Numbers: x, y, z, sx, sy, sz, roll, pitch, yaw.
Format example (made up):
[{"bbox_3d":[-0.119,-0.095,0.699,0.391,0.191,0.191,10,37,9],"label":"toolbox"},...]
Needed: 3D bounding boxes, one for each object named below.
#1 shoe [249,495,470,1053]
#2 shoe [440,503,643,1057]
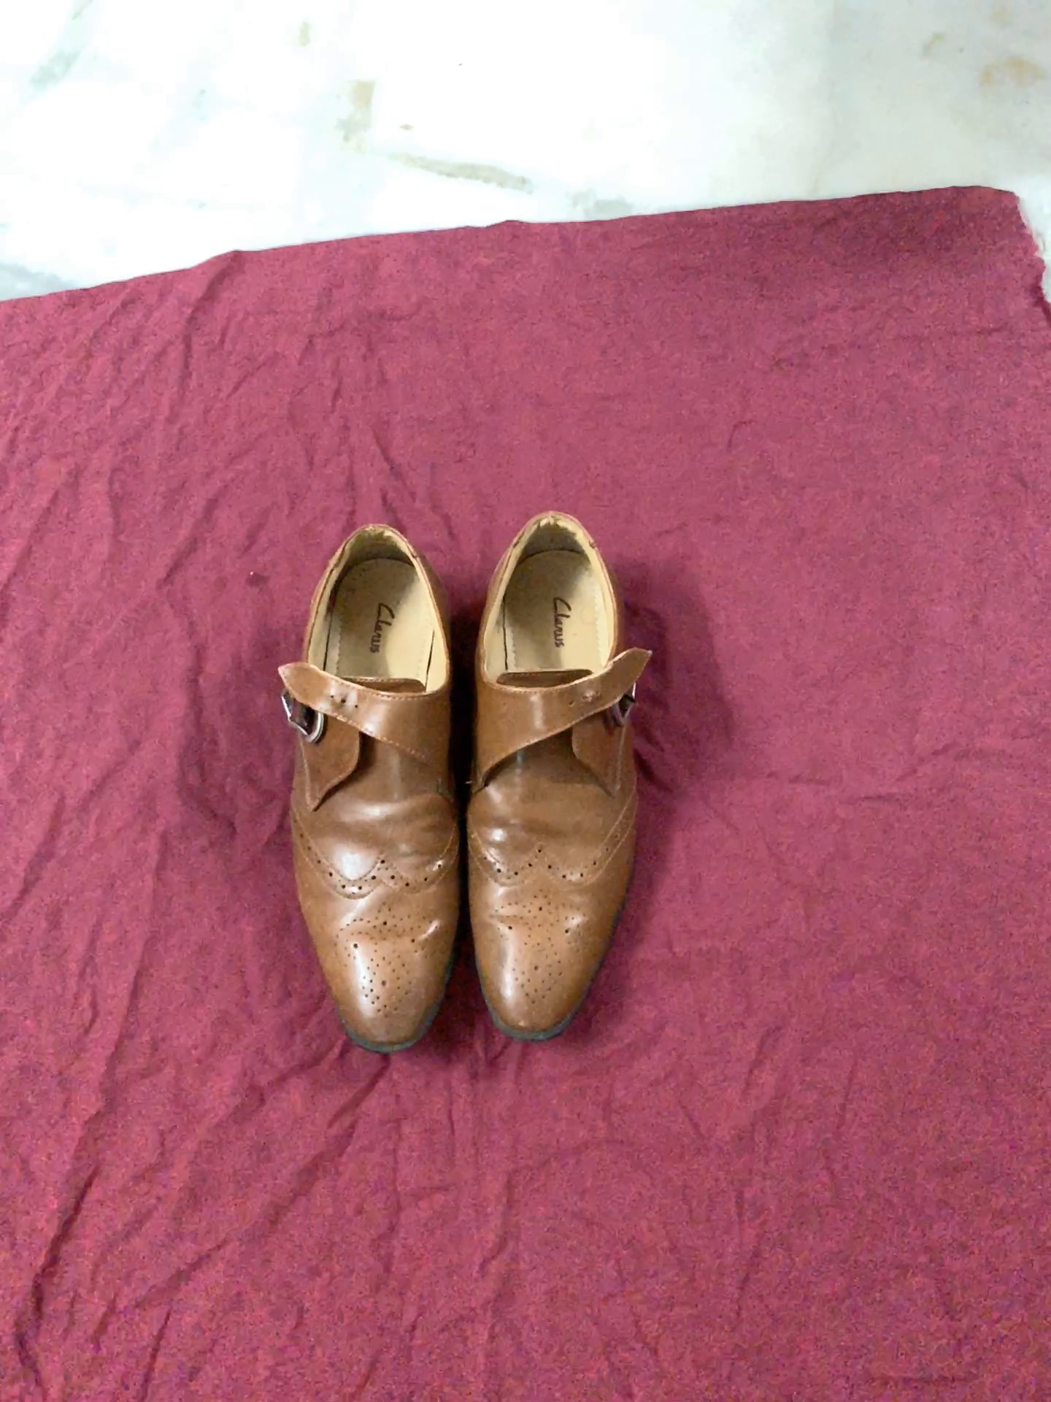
[{"bbox_3d":[-0.085,0.036,0.611,0.100,0.090,0.301,-1,66,-1],"label":"shoe"},{"bbox_3d":[0.013,0.041,0.636,0.100,0.090,0.311,2,66,1],"label":"shoe"}]
